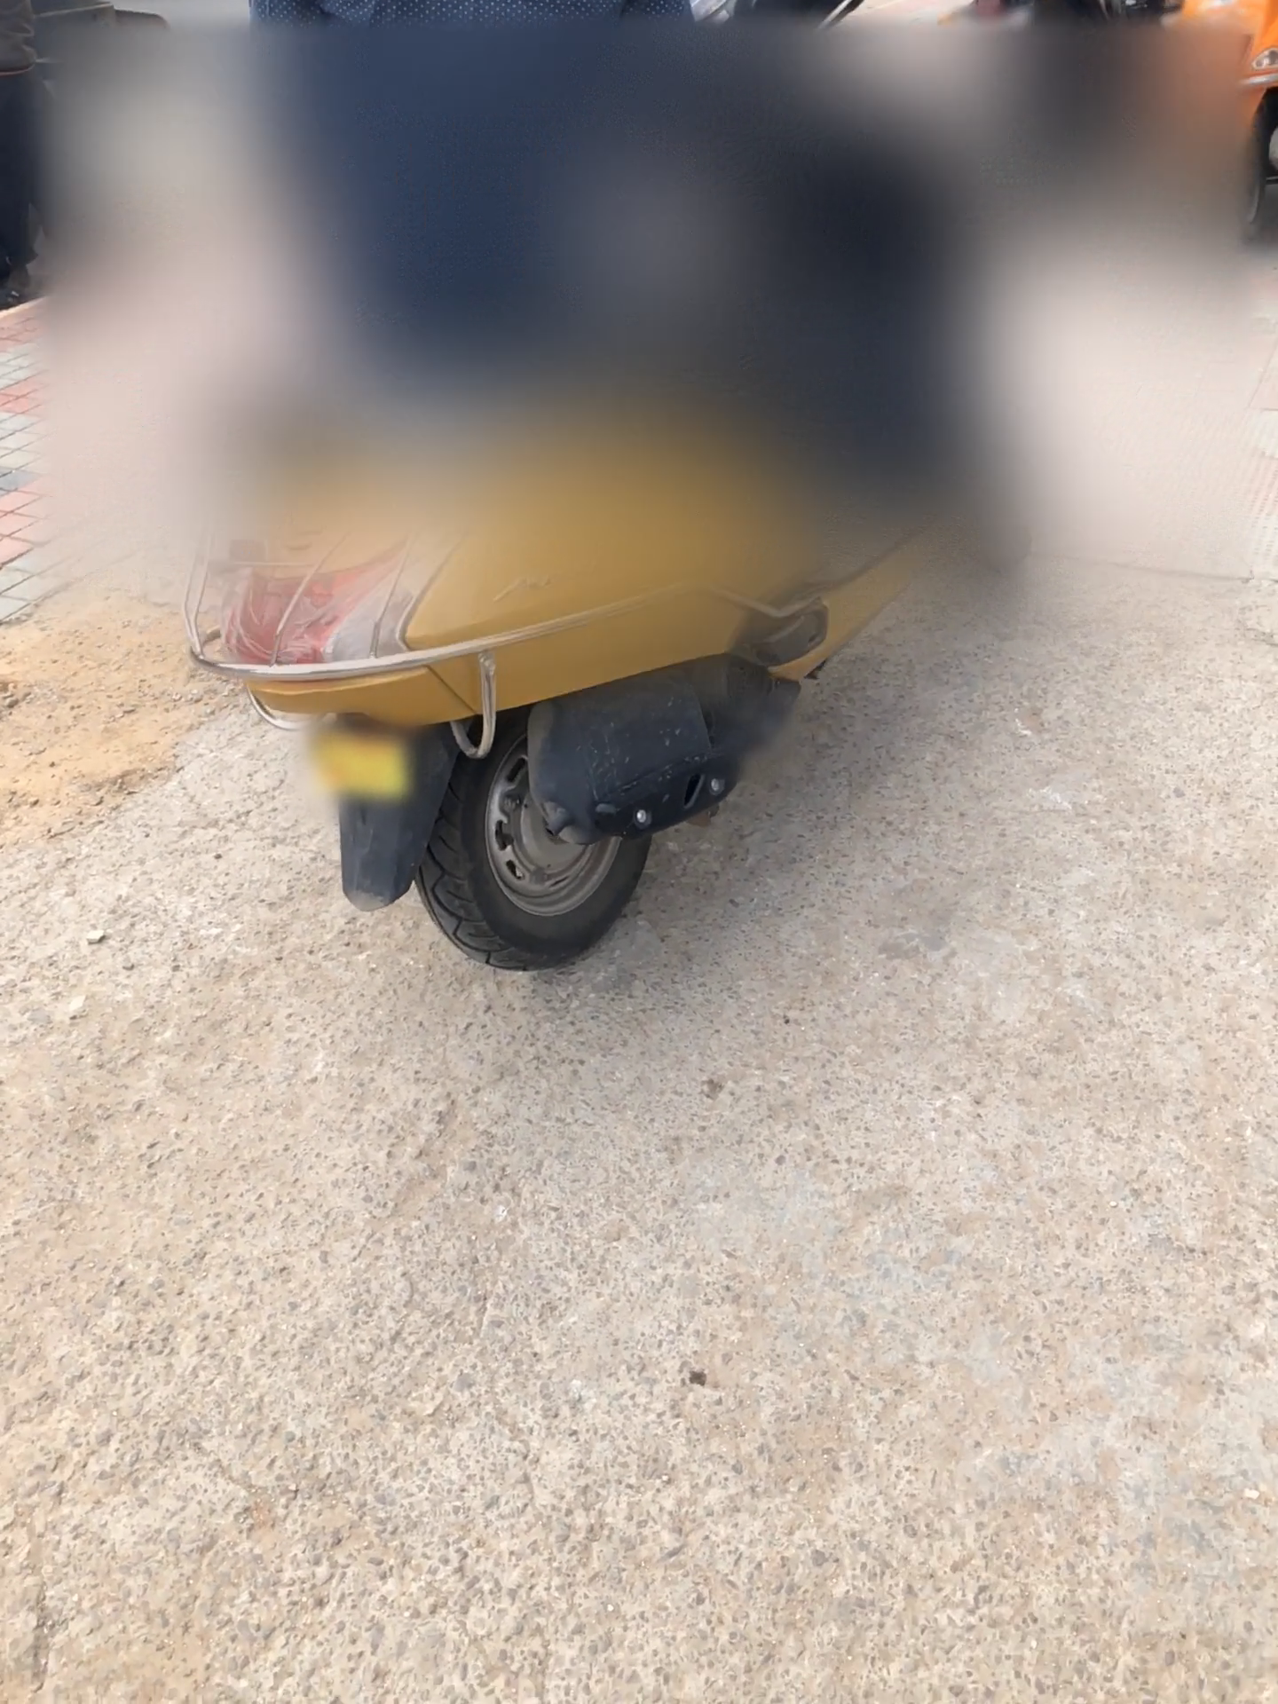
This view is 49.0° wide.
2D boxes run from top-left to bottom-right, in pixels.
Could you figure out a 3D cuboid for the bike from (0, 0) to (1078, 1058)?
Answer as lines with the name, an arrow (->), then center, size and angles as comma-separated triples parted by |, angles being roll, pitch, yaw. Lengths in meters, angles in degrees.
bike -> 0.021, -0.759, 2.014 | 0.584, 1.153, 1.536 | 18, 44, 25
